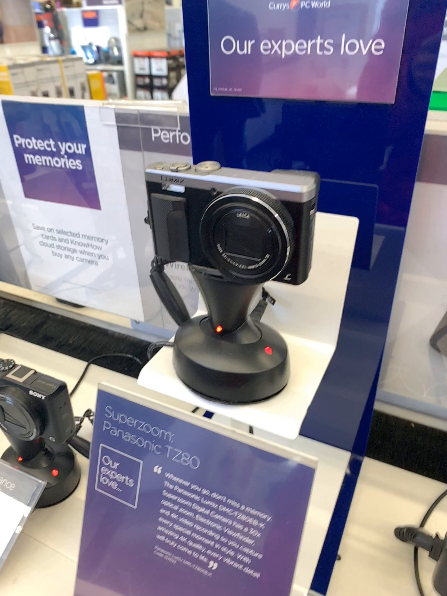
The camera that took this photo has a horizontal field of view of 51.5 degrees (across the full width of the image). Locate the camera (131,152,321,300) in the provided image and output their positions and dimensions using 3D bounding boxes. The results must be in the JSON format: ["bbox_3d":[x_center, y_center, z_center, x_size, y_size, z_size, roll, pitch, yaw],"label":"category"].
[{"bbox_3d":[0.000,-0.048,0.293,0.110,0.069,0.030,13,34,21],"label":"camera"}]
